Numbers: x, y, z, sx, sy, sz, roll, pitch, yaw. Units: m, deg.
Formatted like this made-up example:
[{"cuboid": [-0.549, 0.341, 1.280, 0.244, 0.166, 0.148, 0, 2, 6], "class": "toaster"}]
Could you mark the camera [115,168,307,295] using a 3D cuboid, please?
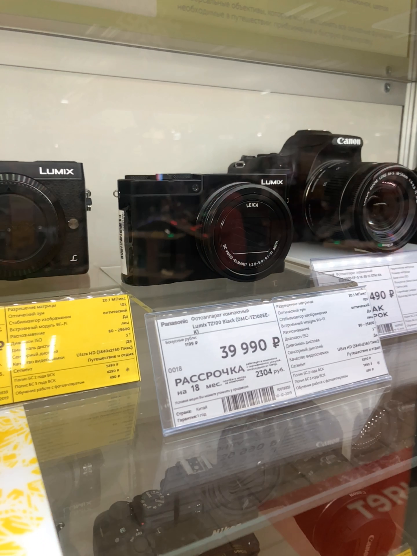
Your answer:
[{"cuboid": [0.003, -0.033, 0.287, 0.111, 0.068, 0.038, -5, 14, -25], "class": "camera"}]

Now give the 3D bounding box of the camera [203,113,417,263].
[{"cuboid": [0.102, -0.085, 0.416, 0.157, 0.099, 0.164, -5, 16, -25], "class": "camera"}]

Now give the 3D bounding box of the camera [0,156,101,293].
[{"cuboid": [-0.125, -0.036, 0.277, 0.108, 0.068, 0.055, -5, 14, -25], "class": "camera"}]
